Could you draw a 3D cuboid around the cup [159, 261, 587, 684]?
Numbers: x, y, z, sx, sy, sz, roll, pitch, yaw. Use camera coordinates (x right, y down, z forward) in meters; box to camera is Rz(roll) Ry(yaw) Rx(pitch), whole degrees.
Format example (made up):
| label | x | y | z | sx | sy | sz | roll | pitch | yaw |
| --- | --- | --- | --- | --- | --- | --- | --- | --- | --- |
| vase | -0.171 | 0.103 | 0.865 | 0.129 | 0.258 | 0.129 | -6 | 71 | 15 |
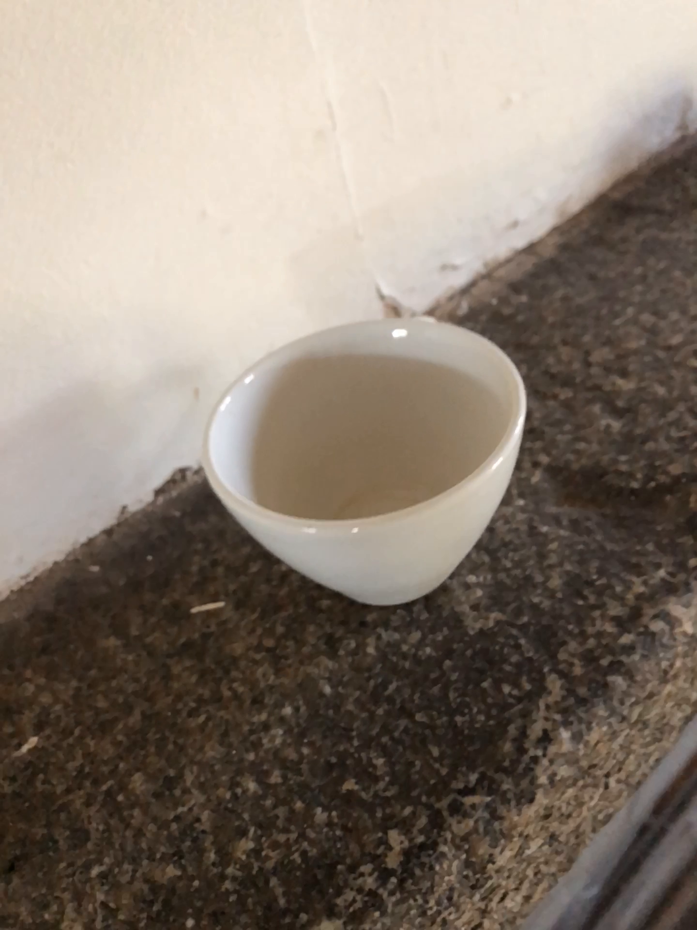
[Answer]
| label | x | y | z | sx | sy | sz | roll | pitch | yaw |
| --- | --- | --- | --- | --- | --- | --- | --- | --- | --- |
| cup | 0.016 | -0.006 | 0.214 | 0.080 | 0.050 | 0.101 | 7 | 47 | 22 |
